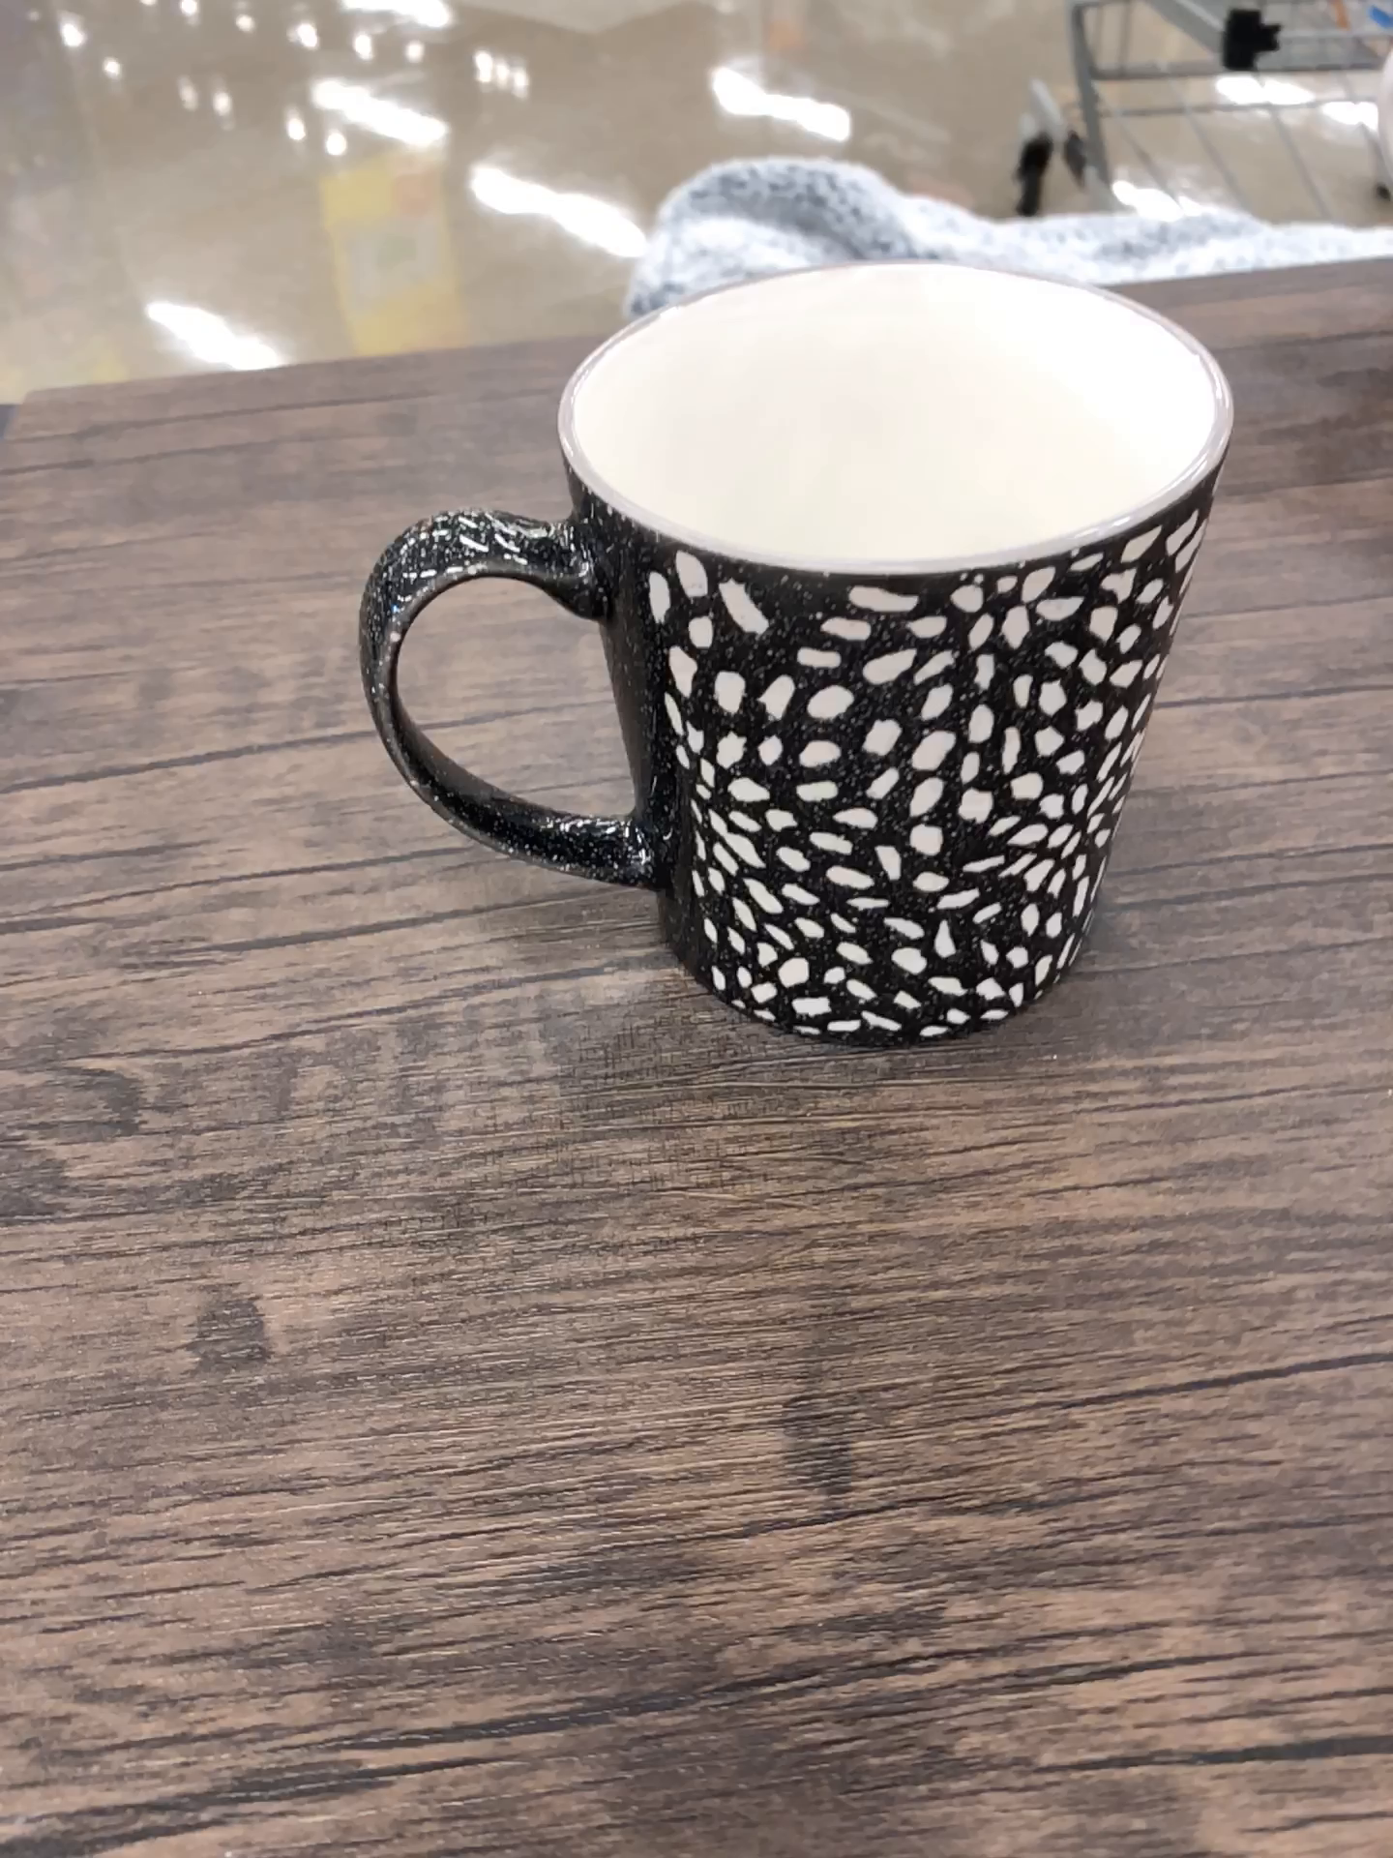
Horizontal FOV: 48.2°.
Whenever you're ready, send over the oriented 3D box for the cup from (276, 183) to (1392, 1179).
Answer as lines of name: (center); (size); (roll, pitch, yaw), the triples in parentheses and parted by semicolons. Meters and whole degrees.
cup: (0.016, -0.044, 0.257); (0.140, 0.100, 0.100); (-12, 44, -8)
